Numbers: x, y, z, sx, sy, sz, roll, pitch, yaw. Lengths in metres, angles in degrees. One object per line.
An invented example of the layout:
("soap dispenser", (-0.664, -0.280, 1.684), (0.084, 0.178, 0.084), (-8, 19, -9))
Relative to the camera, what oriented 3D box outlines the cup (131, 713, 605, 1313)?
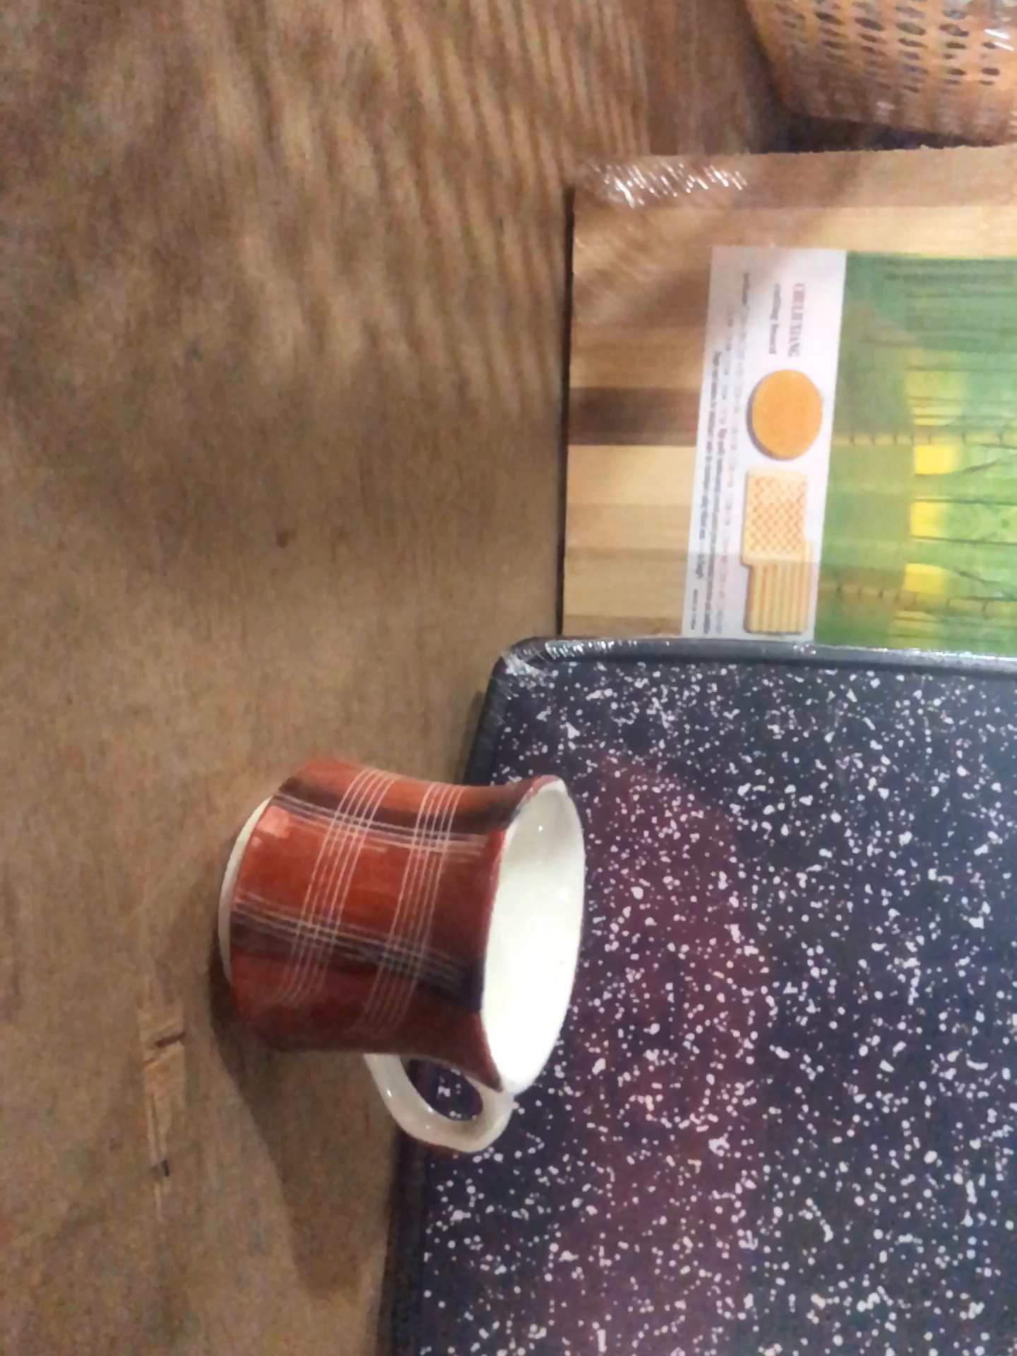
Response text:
("cup", (-0.022, 0.061, 0.226), (0.060, 0.060, 0.090), (-46, 134, -60))
